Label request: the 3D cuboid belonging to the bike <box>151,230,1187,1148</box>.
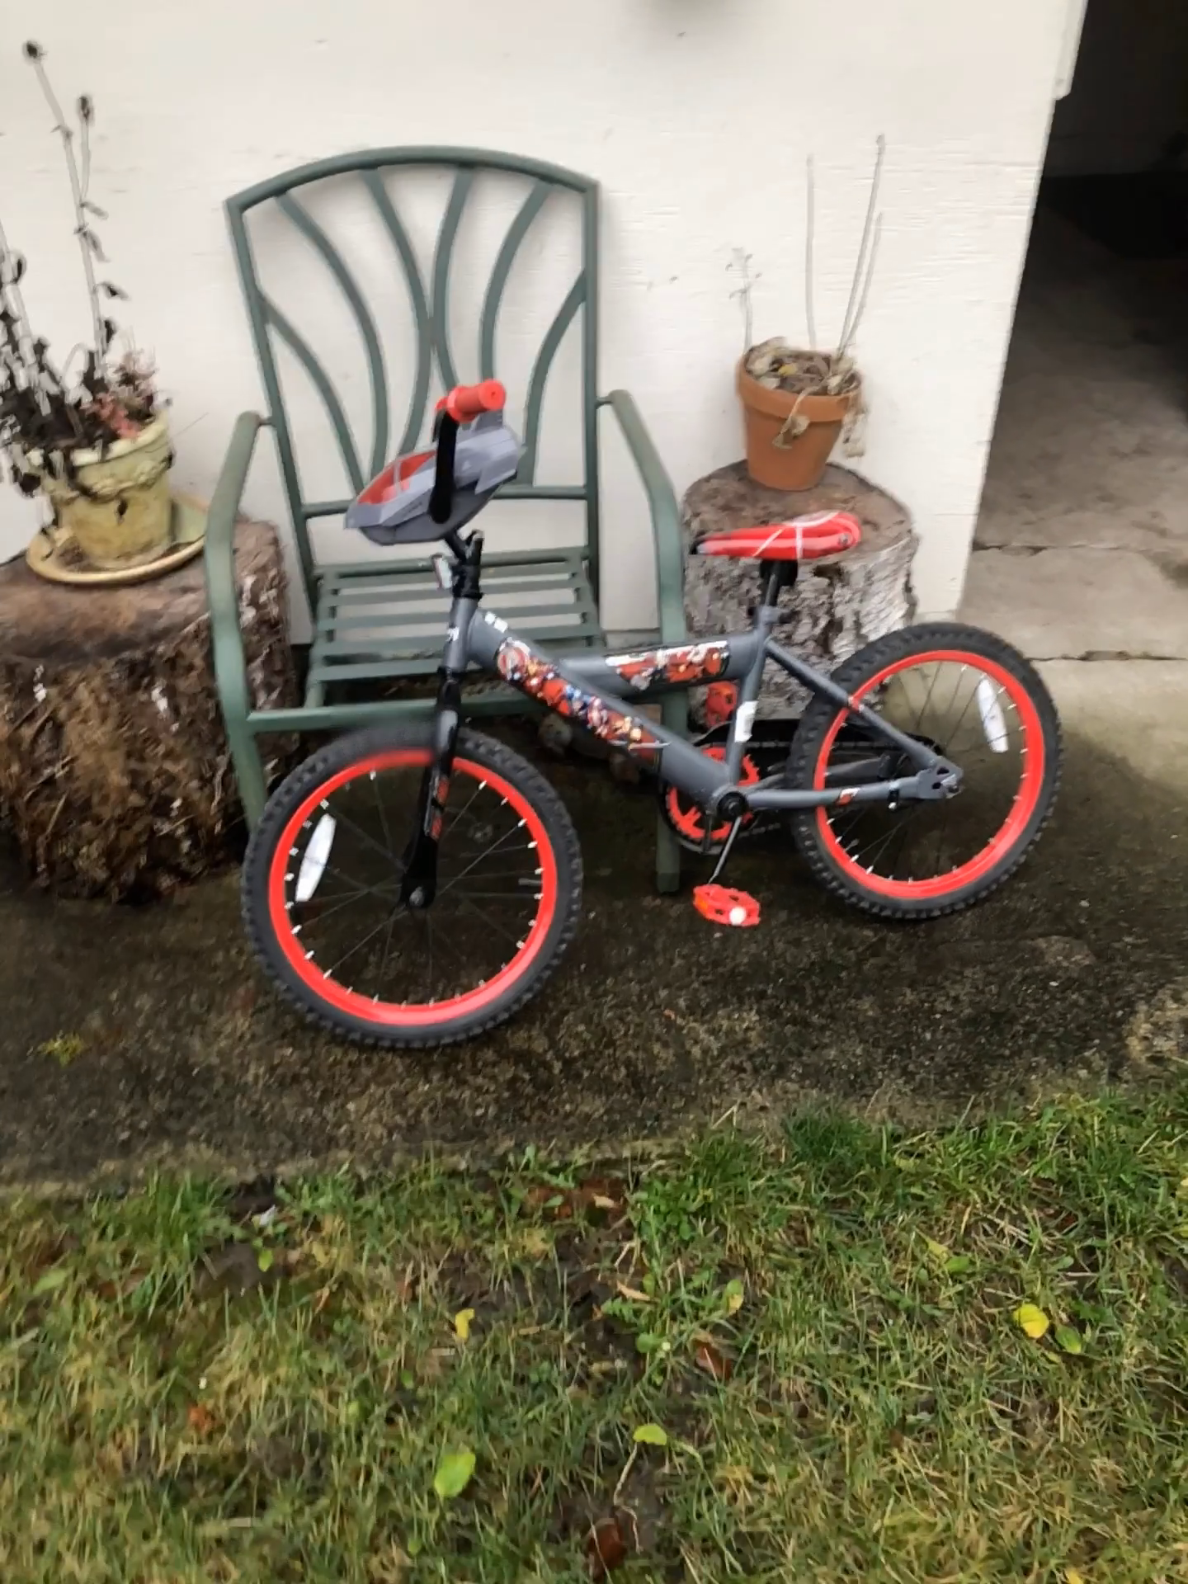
[{"bbox_3d":[0.097,-0.174,1.781,1.199,0.853,0.604,-11,38,-11],"label":"bike"}]
